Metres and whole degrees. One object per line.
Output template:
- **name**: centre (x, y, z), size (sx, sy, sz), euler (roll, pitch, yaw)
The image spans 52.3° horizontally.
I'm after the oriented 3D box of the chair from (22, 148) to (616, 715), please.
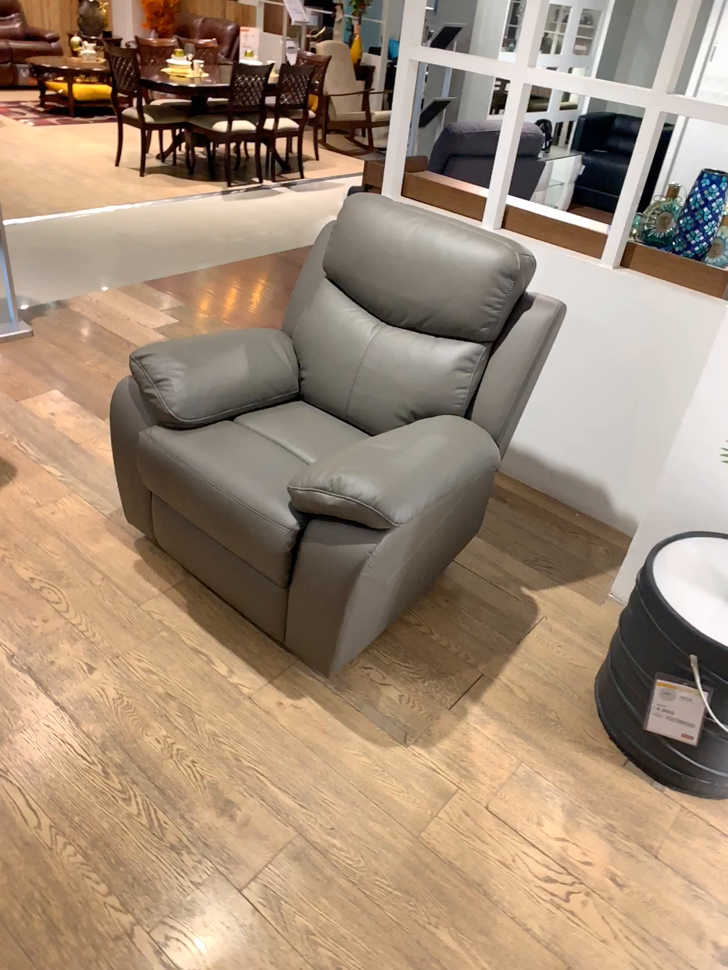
- **chair**: centre (-0.131, -0.259, 1.968), size (1.002, 0.936, 0.942), euler (30, 40, 30)
